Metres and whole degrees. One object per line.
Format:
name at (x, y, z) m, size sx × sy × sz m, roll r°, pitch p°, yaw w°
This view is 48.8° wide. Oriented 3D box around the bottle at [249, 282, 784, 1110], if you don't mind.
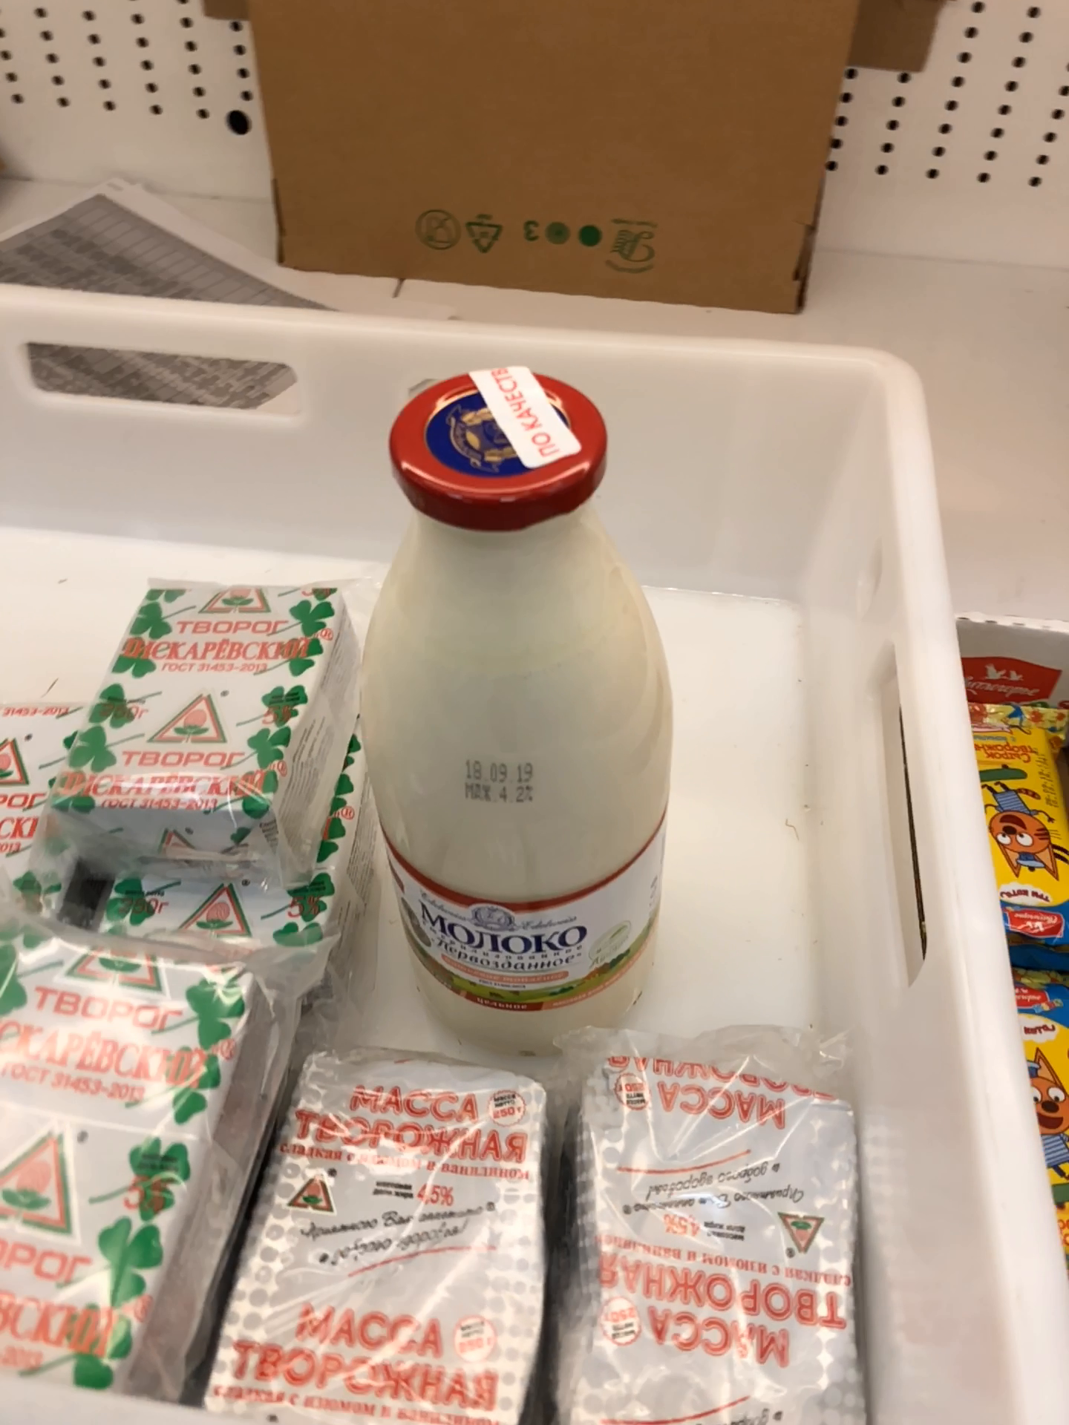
bottle at (0.000, 0.011, 0.311) m, size 0.090 × 0.209 × 0.090 m, roll 1°, pitch 49°, yaw -1°
